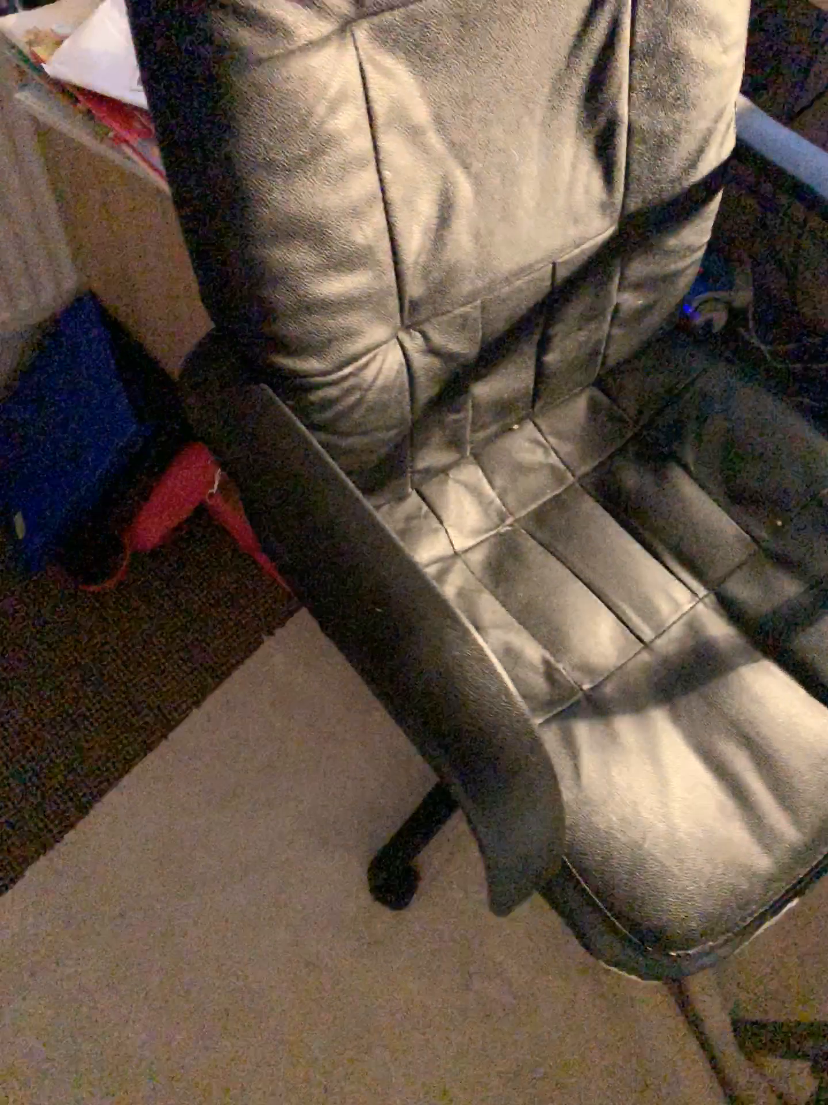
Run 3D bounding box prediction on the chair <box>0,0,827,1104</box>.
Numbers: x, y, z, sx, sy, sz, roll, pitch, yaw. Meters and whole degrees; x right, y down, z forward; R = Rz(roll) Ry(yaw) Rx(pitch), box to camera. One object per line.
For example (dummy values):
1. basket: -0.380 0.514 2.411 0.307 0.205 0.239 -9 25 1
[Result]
1. chair: 0.217 -0.027 0.763 0.712 1.163 0.652 -36 68 -21
